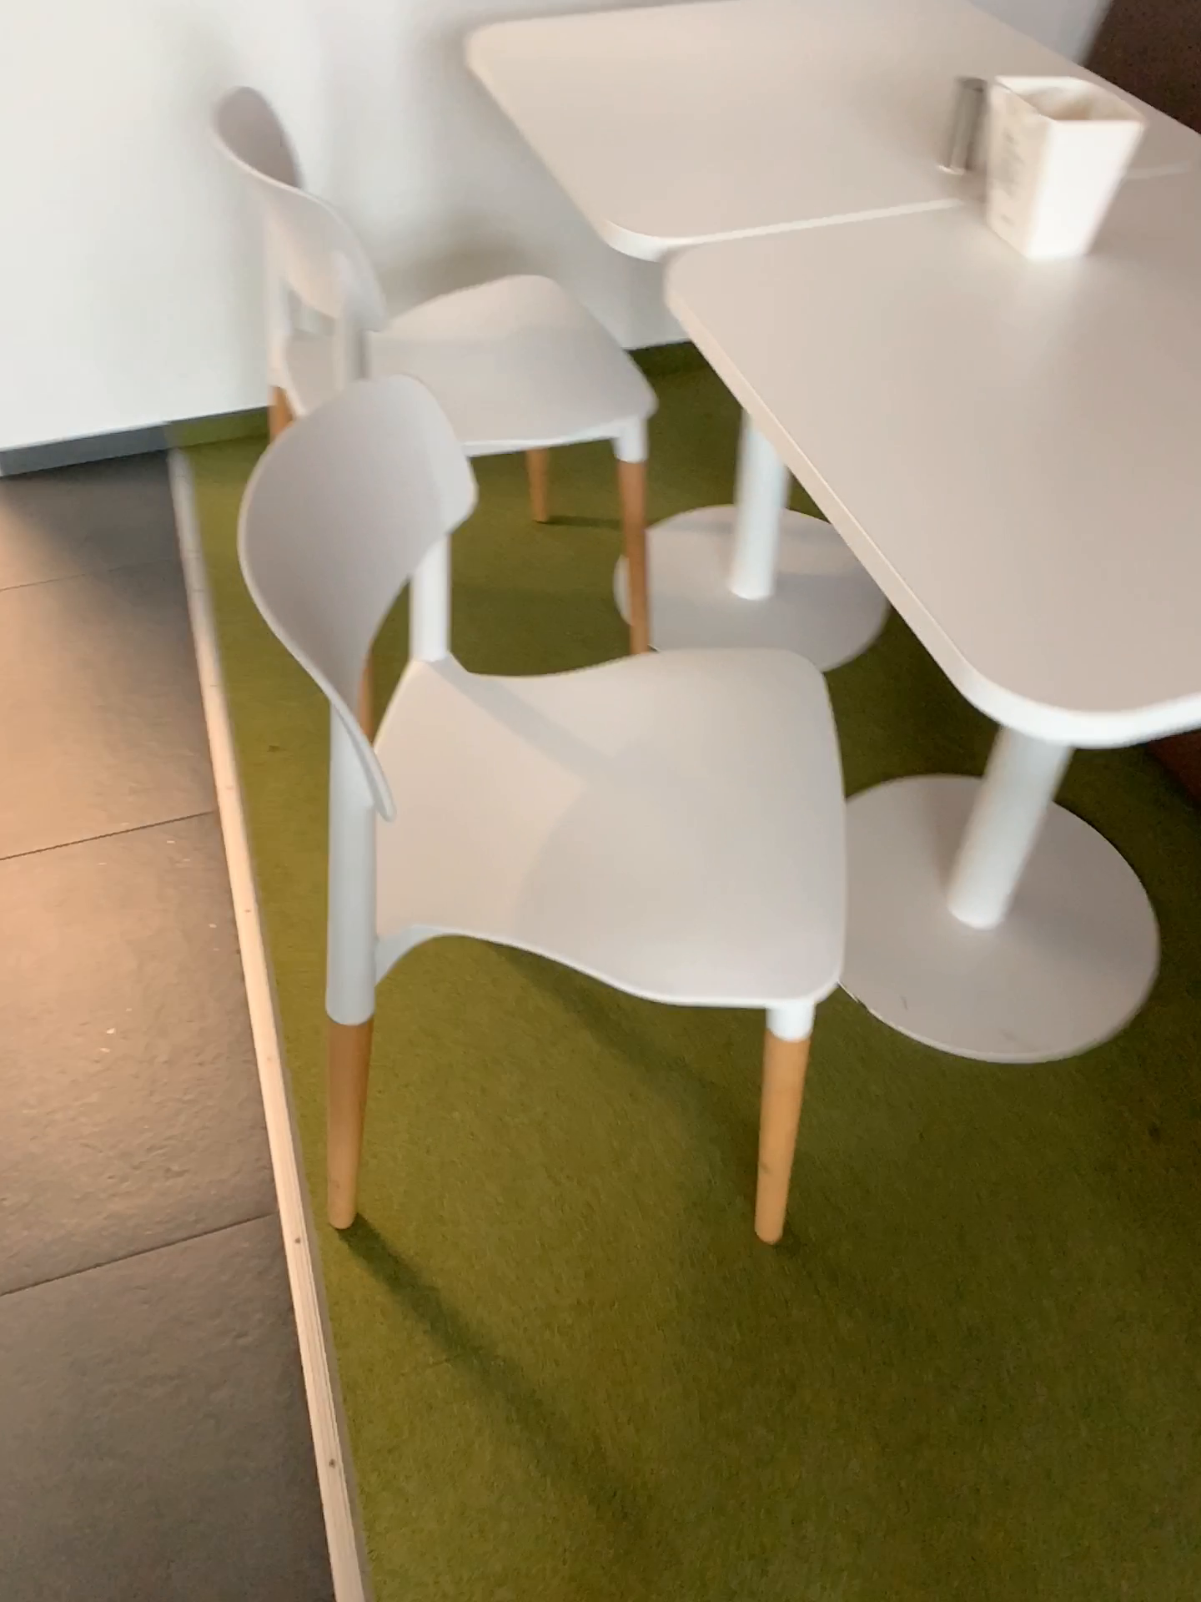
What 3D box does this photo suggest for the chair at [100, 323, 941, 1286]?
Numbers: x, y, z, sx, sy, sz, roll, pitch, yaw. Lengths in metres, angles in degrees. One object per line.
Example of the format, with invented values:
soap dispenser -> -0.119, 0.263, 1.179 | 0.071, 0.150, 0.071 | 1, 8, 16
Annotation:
chair -> -0.024, 0.038, 1.165 | 0.500, 0.747, 0.512 | 5, 48, 4

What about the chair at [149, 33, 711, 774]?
chair -> -0.225, -0.550, 1.715 | 0.510, 0.727, 0.562 | -18, 51, -16
